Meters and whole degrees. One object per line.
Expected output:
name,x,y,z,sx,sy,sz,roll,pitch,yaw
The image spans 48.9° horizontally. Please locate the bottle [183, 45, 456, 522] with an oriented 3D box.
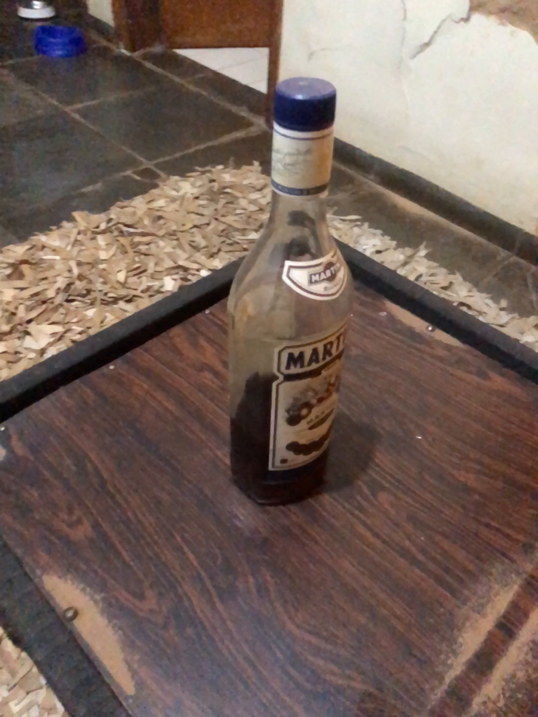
bottle,0.016,-0.027,0.395,0.100,0.298,0.090,-28,53,-29
